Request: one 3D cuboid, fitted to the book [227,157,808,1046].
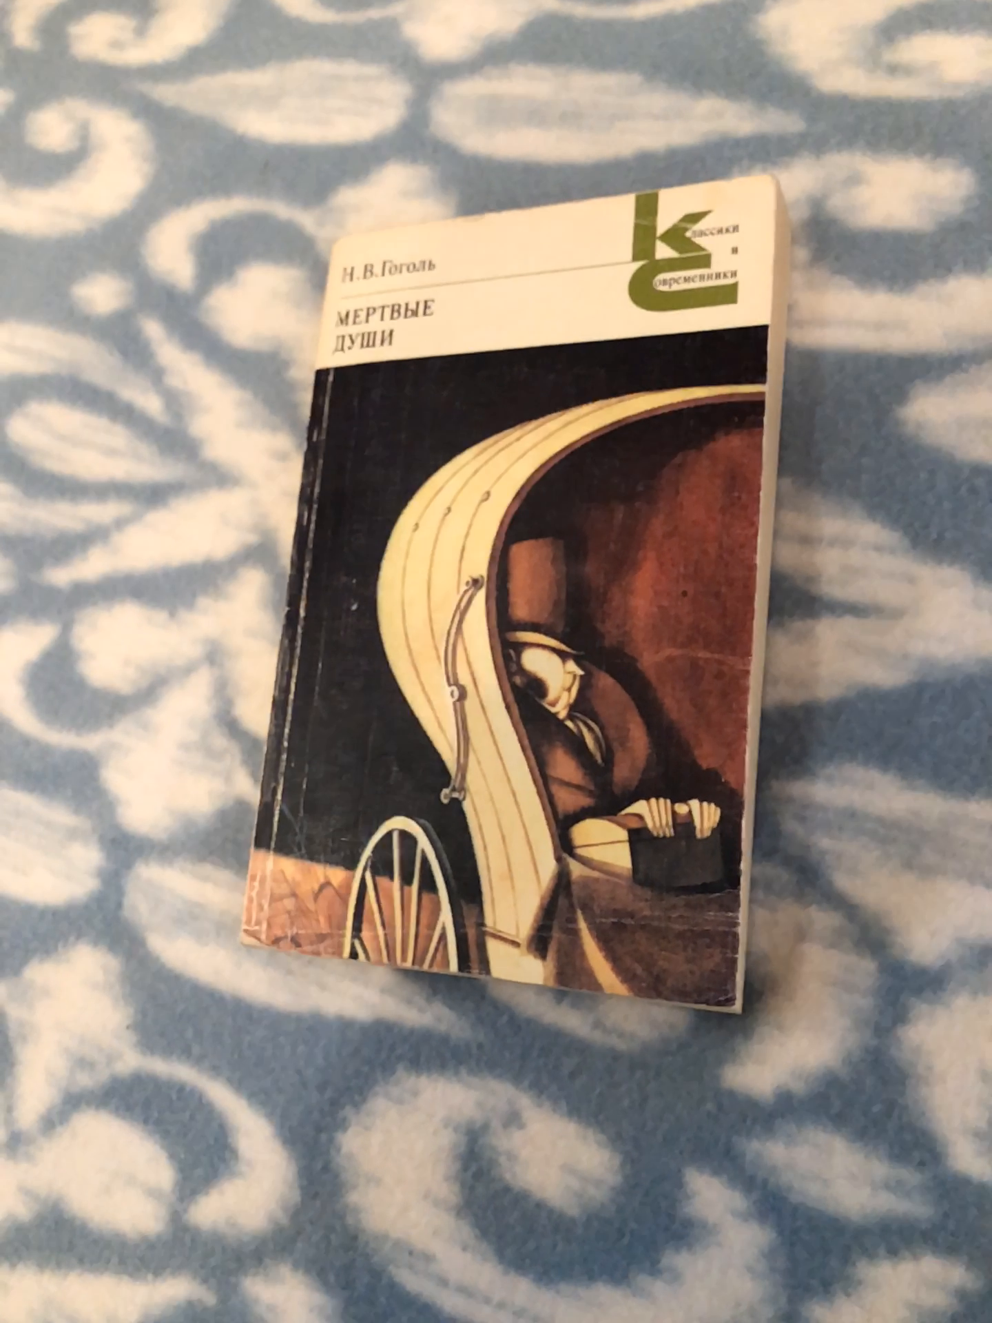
[{"bbox_3d":[0.008,-0.019,0.273,0.125,0.025,0.199,1,78,21],"label":"book"}]
